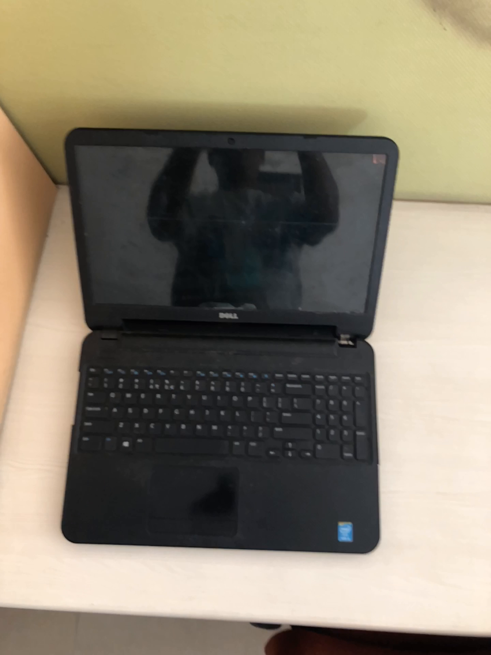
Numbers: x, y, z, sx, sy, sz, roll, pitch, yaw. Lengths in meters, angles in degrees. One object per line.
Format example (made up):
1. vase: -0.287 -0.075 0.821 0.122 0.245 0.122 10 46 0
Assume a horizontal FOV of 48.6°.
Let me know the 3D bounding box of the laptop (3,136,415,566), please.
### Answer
1. laptop: -0.023 0.022 0.610 0.356 0.166 0.425 2 73 1
